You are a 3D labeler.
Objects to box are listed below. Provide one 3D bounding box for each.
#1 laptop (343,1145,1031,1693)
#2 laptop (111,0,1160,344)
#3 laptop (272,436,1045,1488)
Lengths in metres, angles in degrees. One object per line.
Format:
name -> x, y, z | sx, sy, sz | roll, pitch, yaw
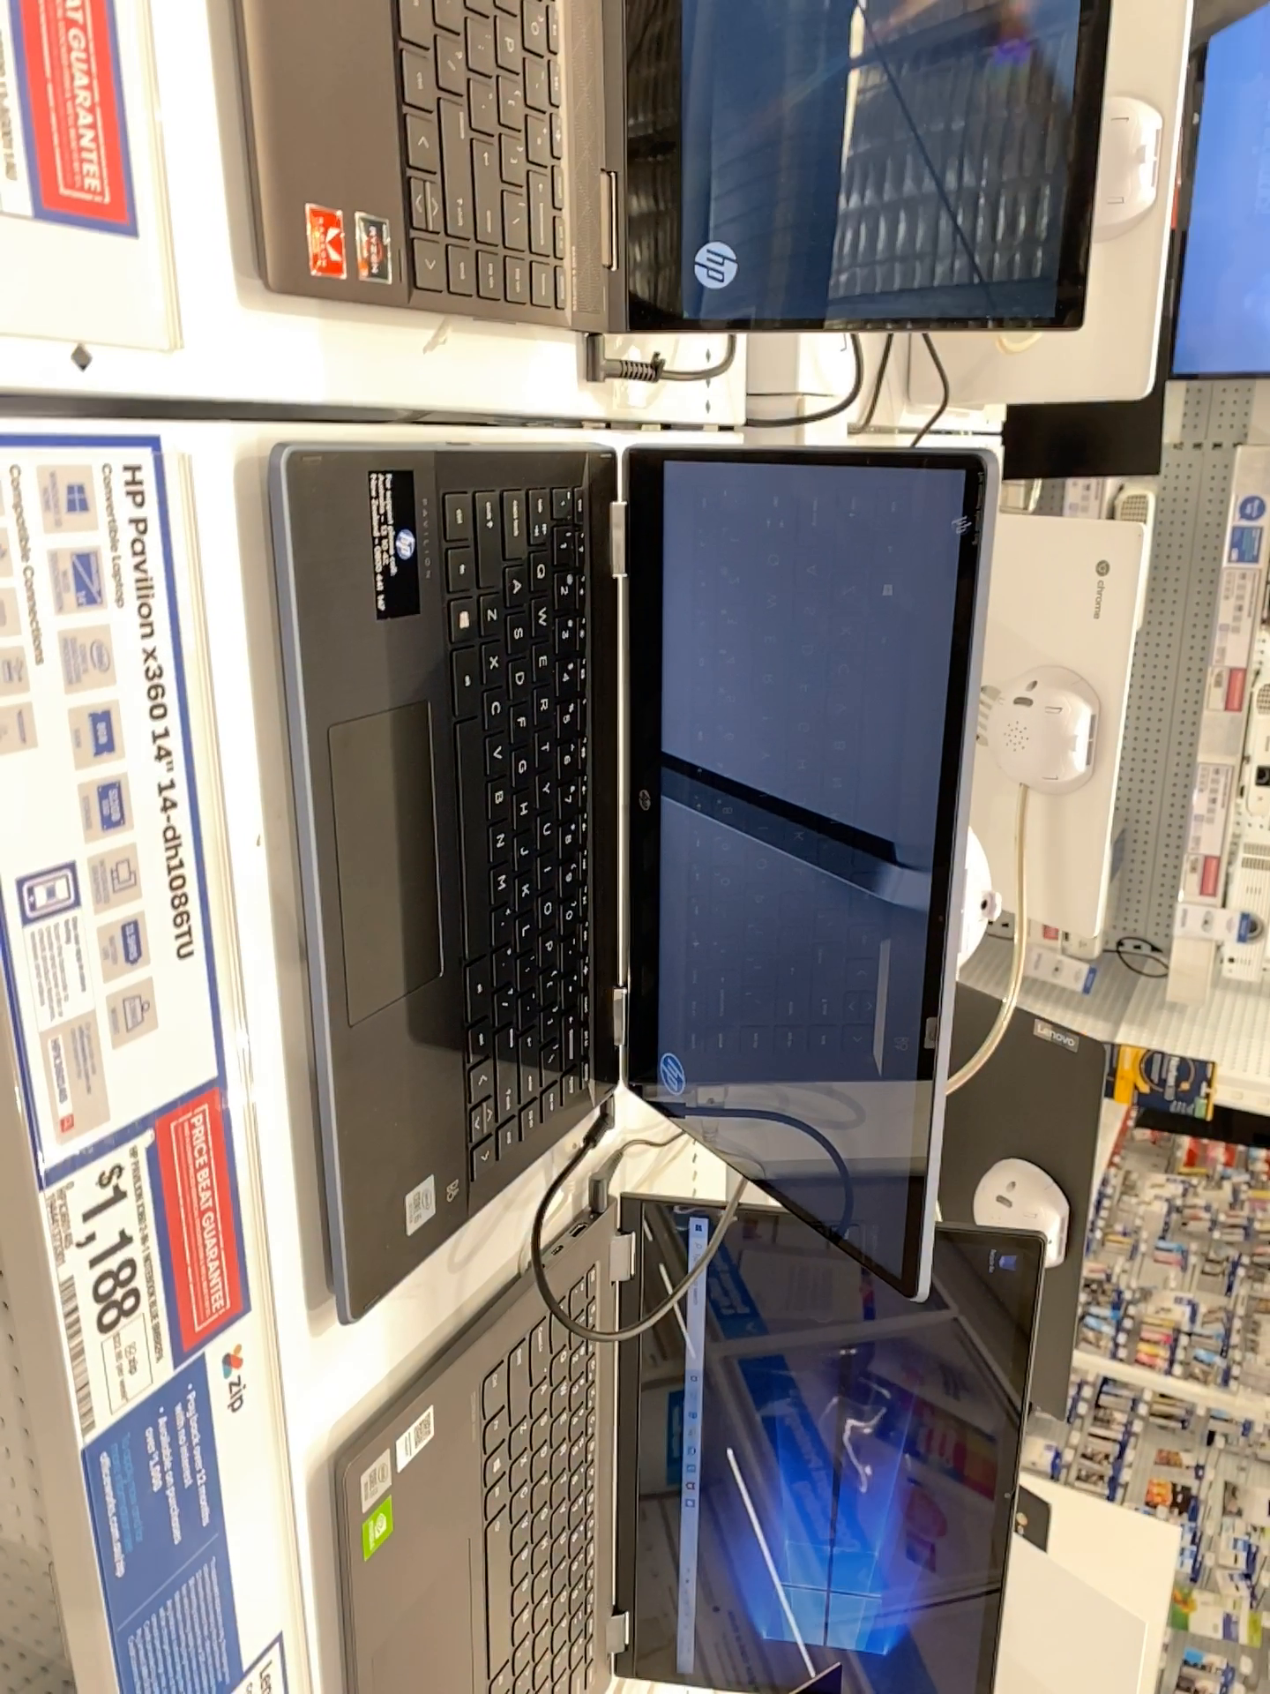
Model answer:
laptop -> 0.045, 0.368, 0.626 | 0.295, 0.199, 0.306 | -25, 119, -58
laptop -> 0.042, -0.354, 0.435 | 0.326, 0.173, 0.326 | -27, 120, -56
laptop -> 0.023, 0.010, 0.492 | 0.212, 0.189, 0.313 | -30, 124, -57
